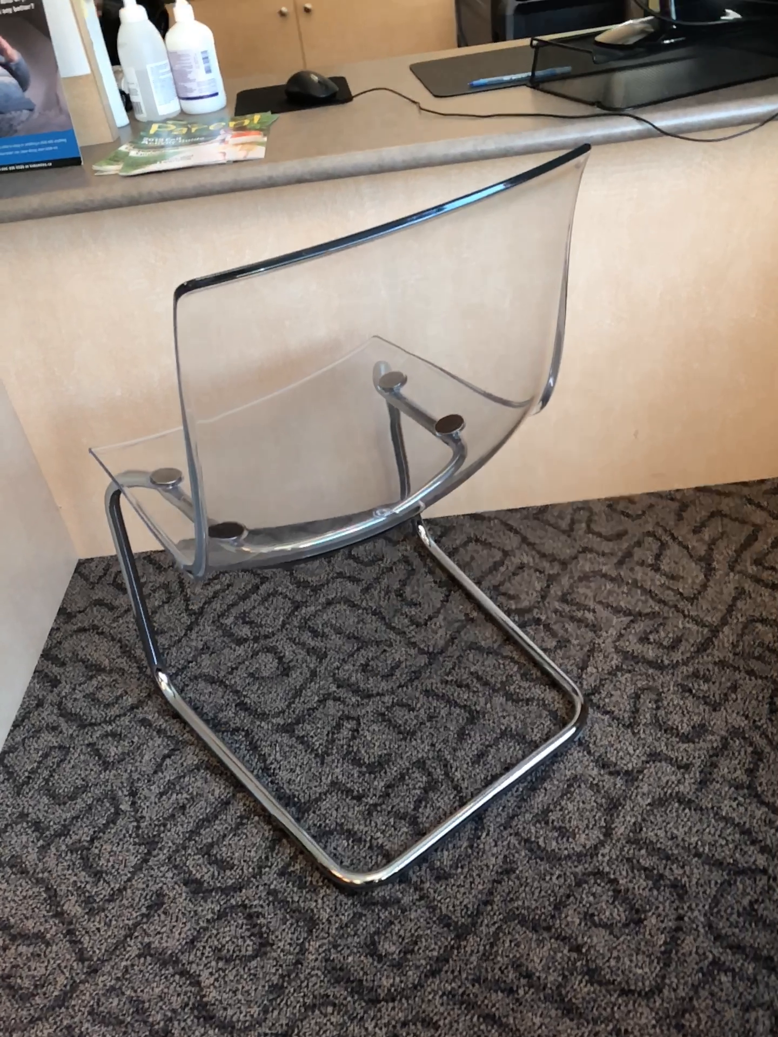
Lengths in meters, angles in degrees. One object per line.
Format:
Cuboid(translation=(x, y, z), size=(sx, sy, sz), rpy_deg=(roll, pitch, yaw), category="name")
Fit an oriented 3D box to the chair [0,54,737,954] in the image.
Cuboid(translation=(-0.065, -0.076, 1.111), size=(0.601, 0.804, 0.644), rpy_deg=(-28, 41, -25), category="chair")
